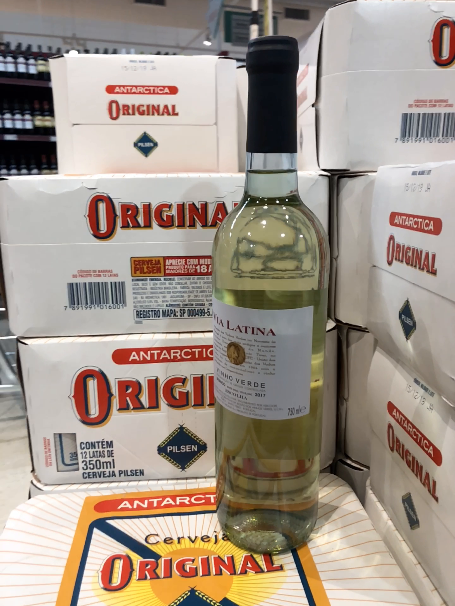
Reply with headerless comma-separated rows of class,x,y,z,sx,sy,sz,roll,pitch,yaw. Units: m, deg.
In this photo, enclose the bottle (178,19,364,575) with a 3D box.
bottle,0.024,0.003,0.324,0.080,0.309,0.070,13,18,43
